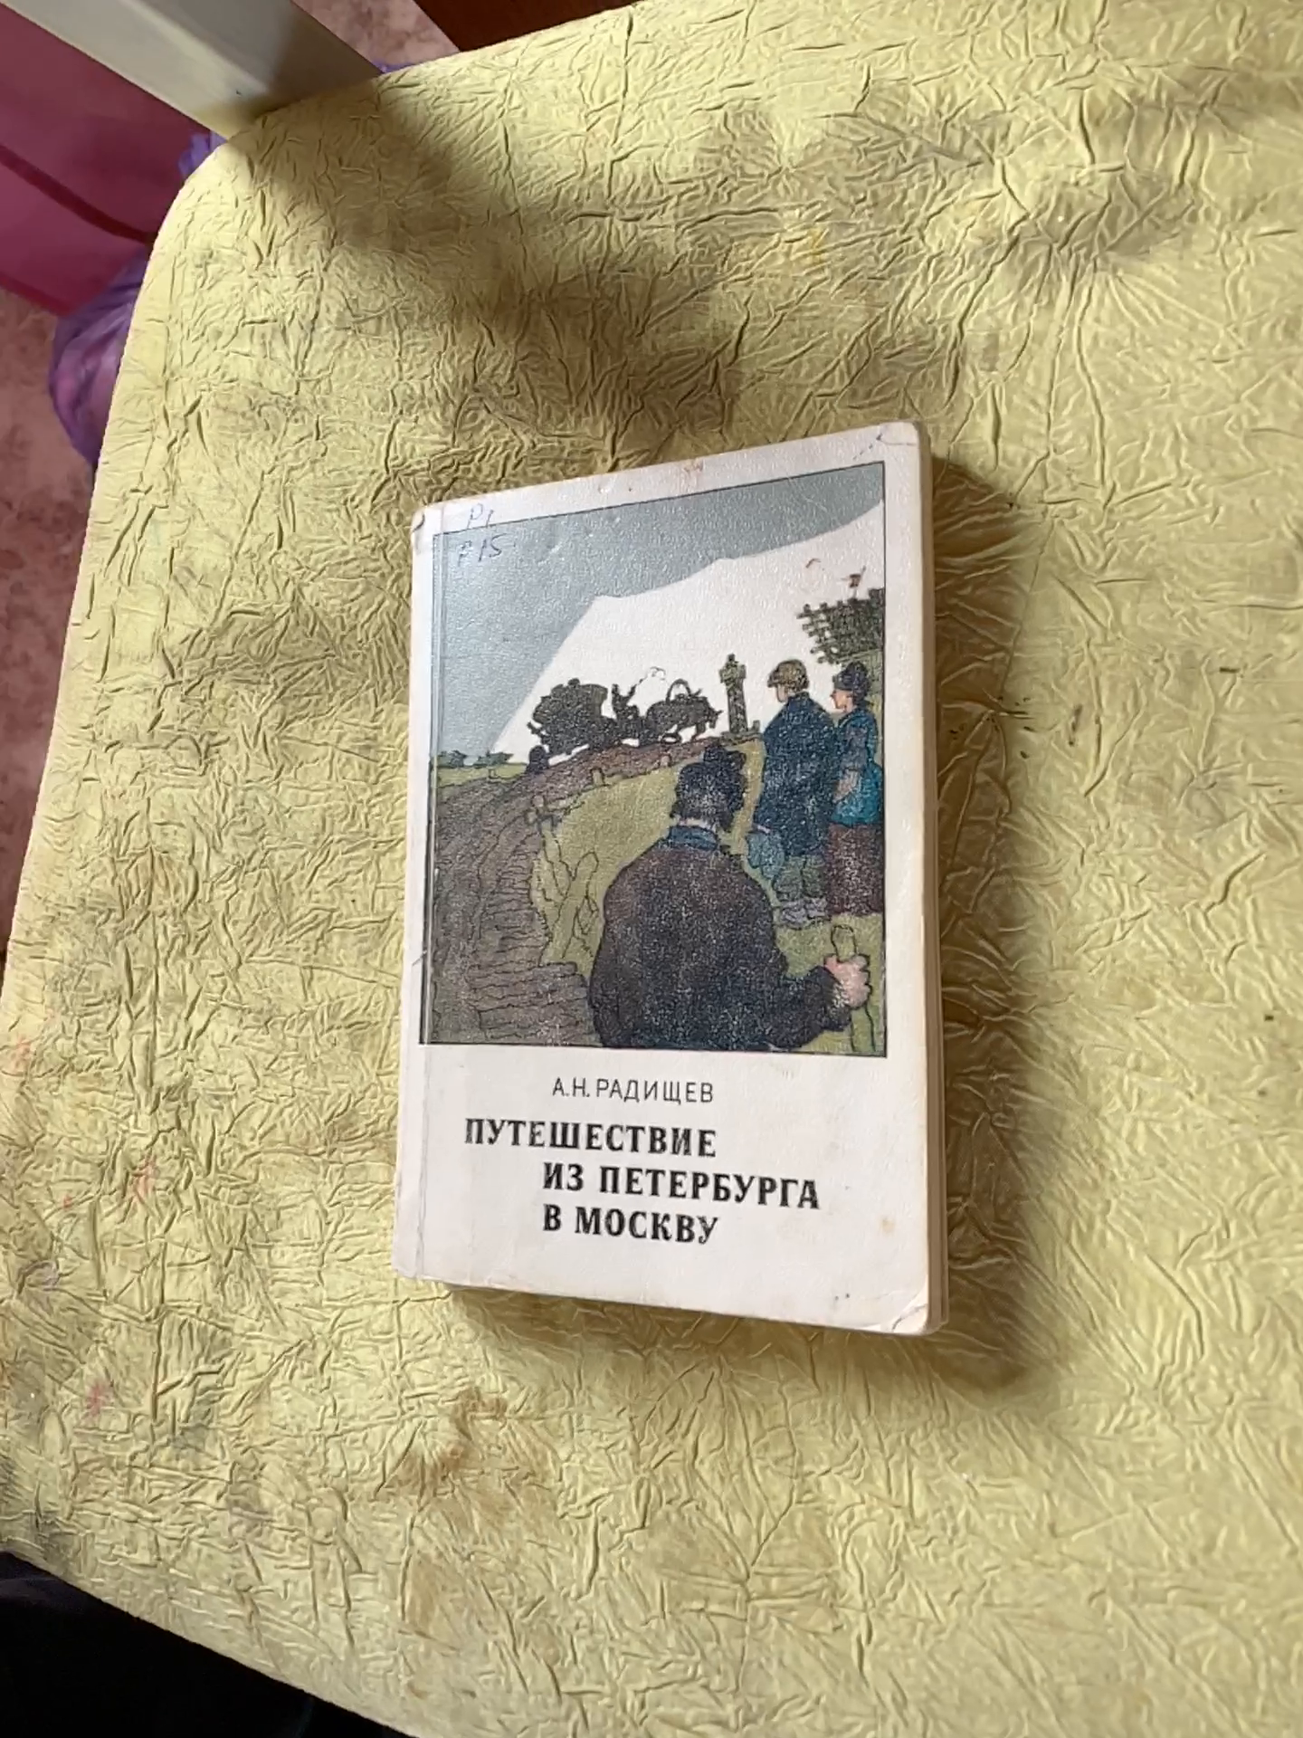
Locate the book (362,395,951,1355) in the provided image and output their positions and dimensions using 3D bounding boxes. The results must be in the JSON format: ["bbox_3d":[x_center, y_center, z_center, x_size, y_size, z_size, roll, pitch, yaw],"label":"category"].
[{"bbox_3d":[-0.001,0.001,0.258,0.111,0.020,0.161,-2,83,25],"label":"book"}]
